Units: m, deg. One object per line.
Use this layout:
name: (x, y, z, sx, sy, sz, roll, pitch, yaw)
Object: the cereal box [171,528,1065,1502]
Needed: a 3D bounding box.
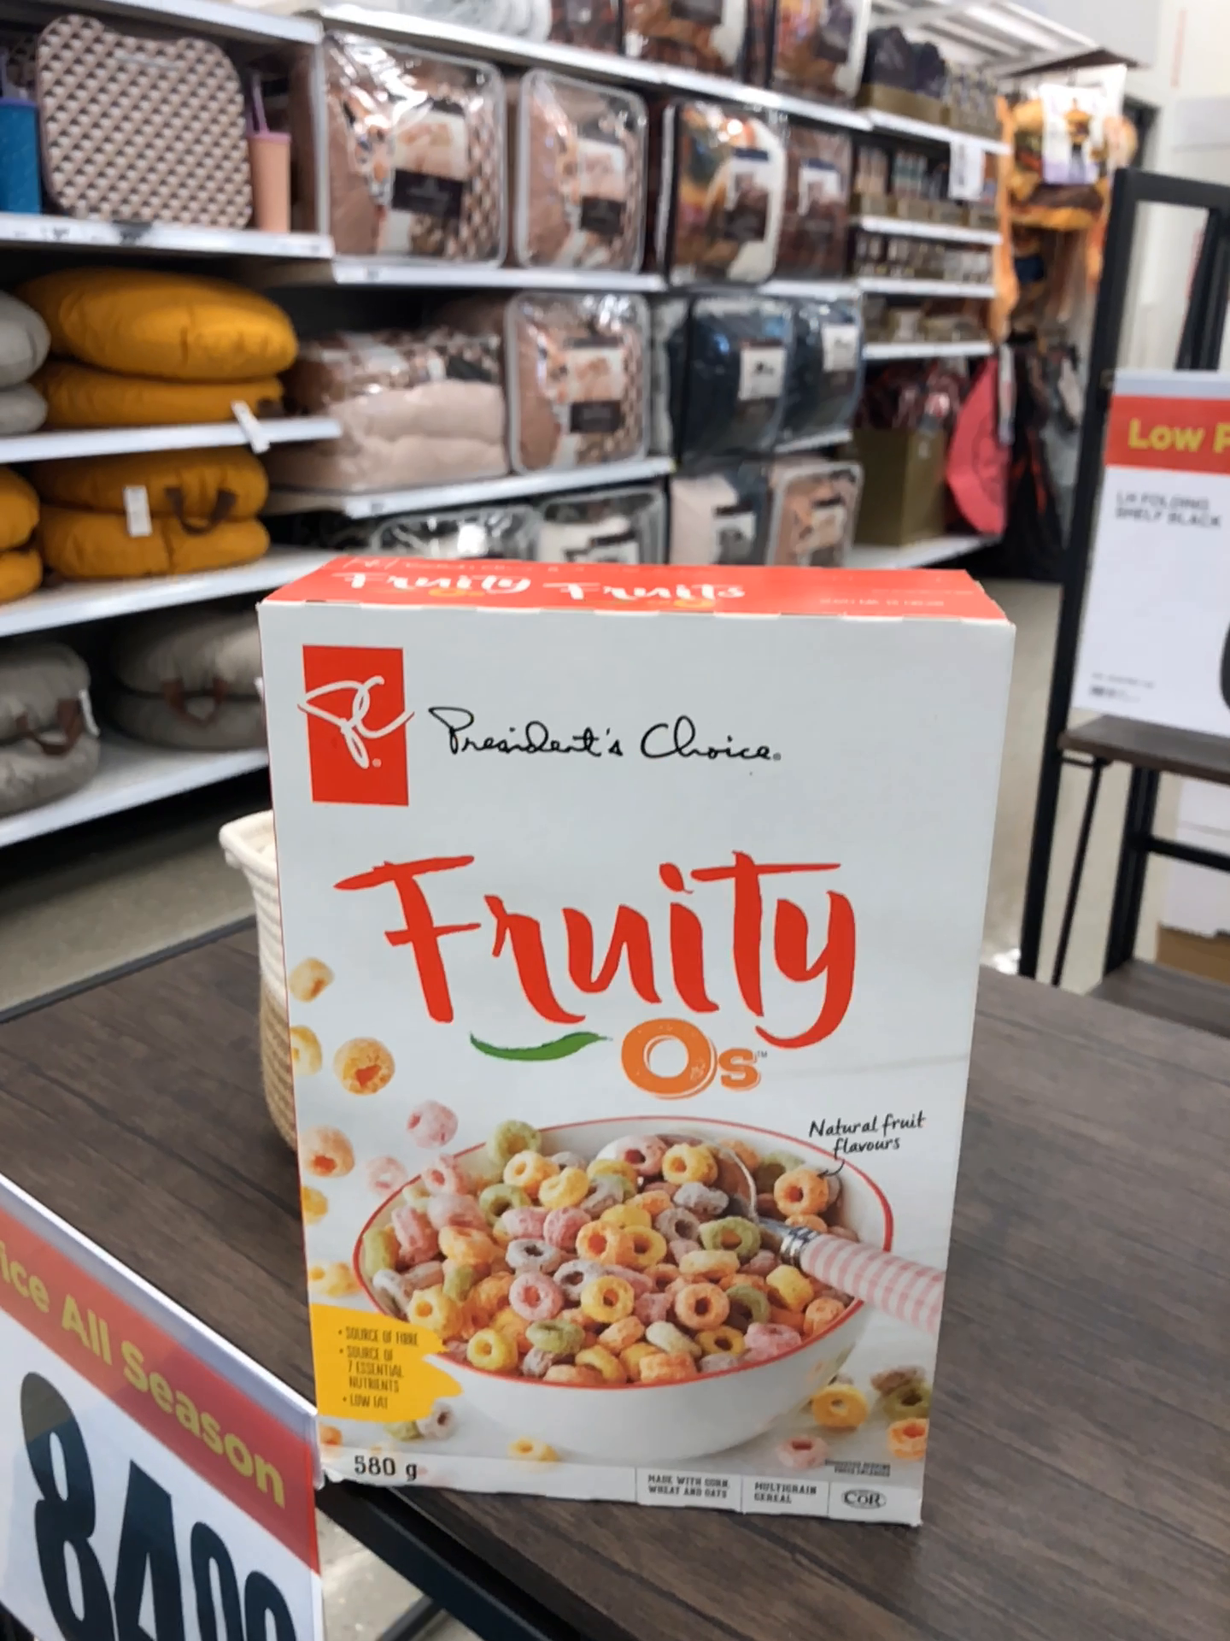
cereal box: (0.000, 0.060, 0.422, 0.220, 0.279, 0.080, 2, 20, 4)
